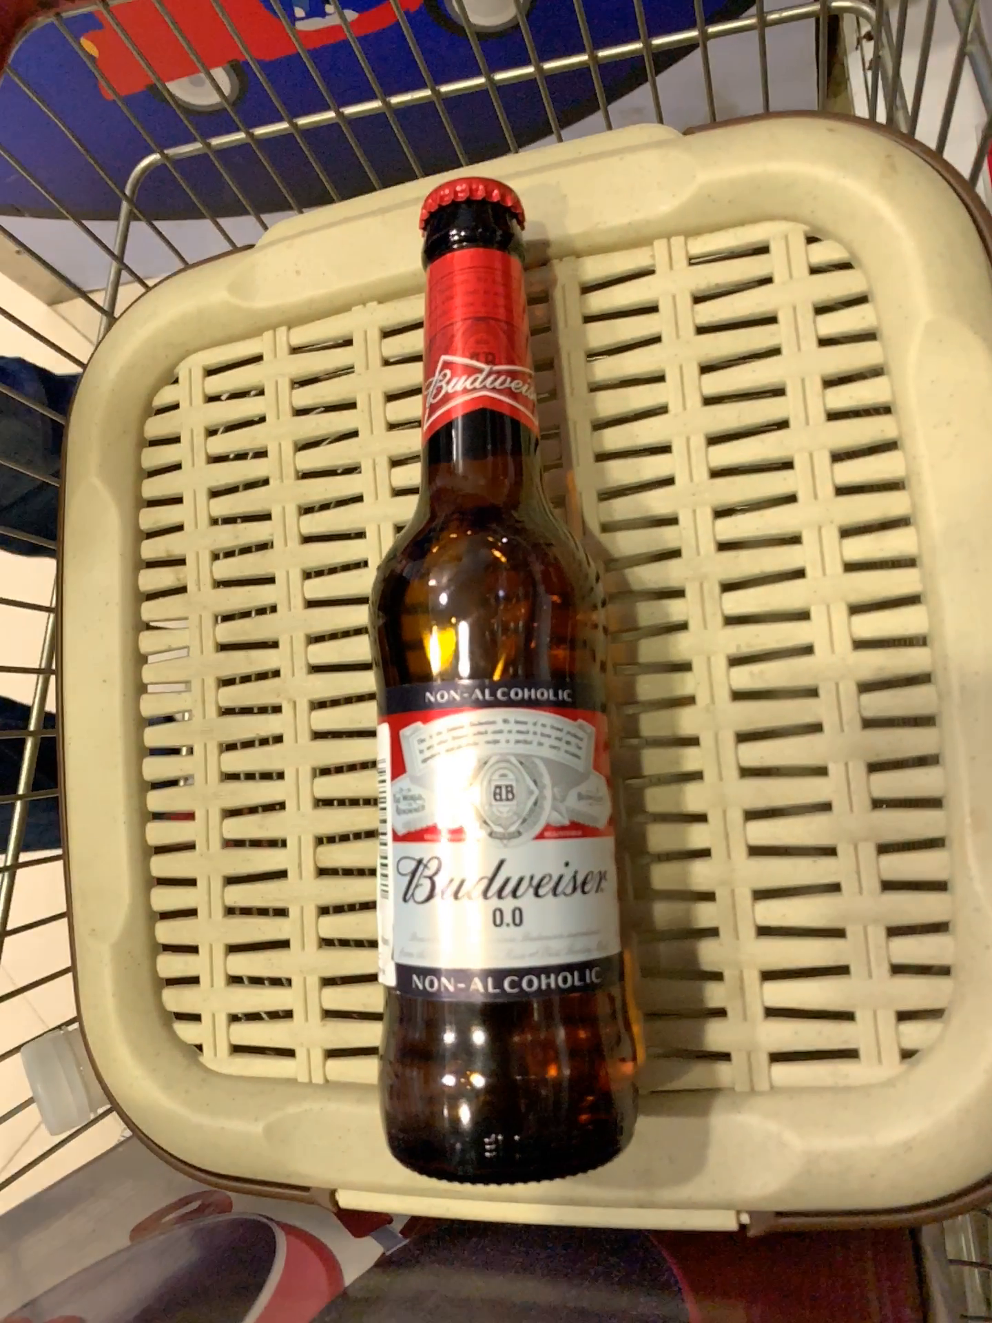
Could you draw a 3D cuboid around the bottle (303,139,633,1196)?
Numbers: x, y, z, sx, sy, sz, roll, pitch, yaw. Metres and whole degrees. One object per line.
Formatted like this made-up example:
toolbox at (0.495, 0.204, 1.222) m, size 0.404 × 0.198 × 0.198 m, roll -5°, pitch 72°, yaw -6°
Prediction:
bottle at (-0.008, -0.002, 0.242) m, size 0.060 × 0.060 × 0.220 m, roll -3°, pitch 83°, yaw 0°
